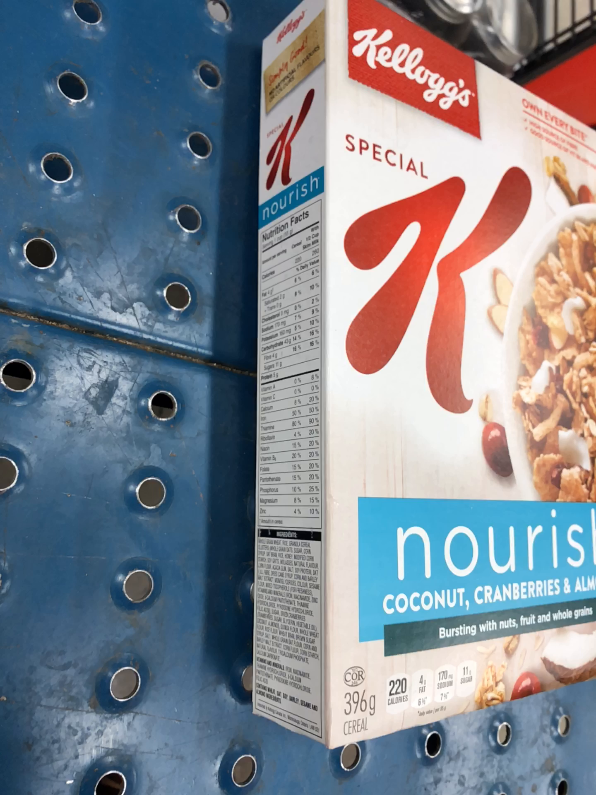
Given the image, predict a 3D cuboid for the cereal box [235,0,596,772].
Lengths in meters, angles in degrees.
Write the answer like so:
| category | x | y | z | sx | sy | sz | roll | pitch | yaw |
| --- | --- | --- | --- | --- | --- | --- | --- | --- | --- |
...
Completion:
| category | x | y | z | sx | sy | sz | roll | pitch | yaw |
| --- | --- | --- | --- | --- | --- | --- | --- | --- | --- |
| cereal box | 0.079 | -0.019 | 0.301 | 0.211 | 0.050 | 0.290 | 6 | 80 | -35 |
